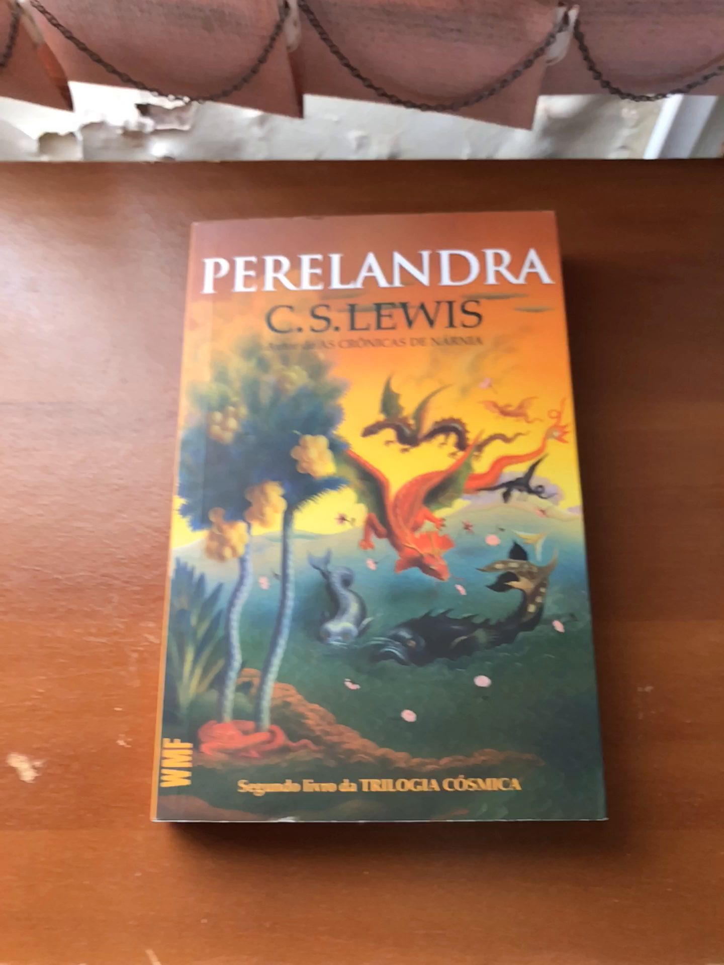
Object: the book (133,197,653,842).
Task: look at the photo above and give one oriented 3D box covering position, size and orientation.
[{"bbox_3d":[0.007,0.004,0.248,0.130,0.030,0.191,-1,71,2],"label":"book"}]
